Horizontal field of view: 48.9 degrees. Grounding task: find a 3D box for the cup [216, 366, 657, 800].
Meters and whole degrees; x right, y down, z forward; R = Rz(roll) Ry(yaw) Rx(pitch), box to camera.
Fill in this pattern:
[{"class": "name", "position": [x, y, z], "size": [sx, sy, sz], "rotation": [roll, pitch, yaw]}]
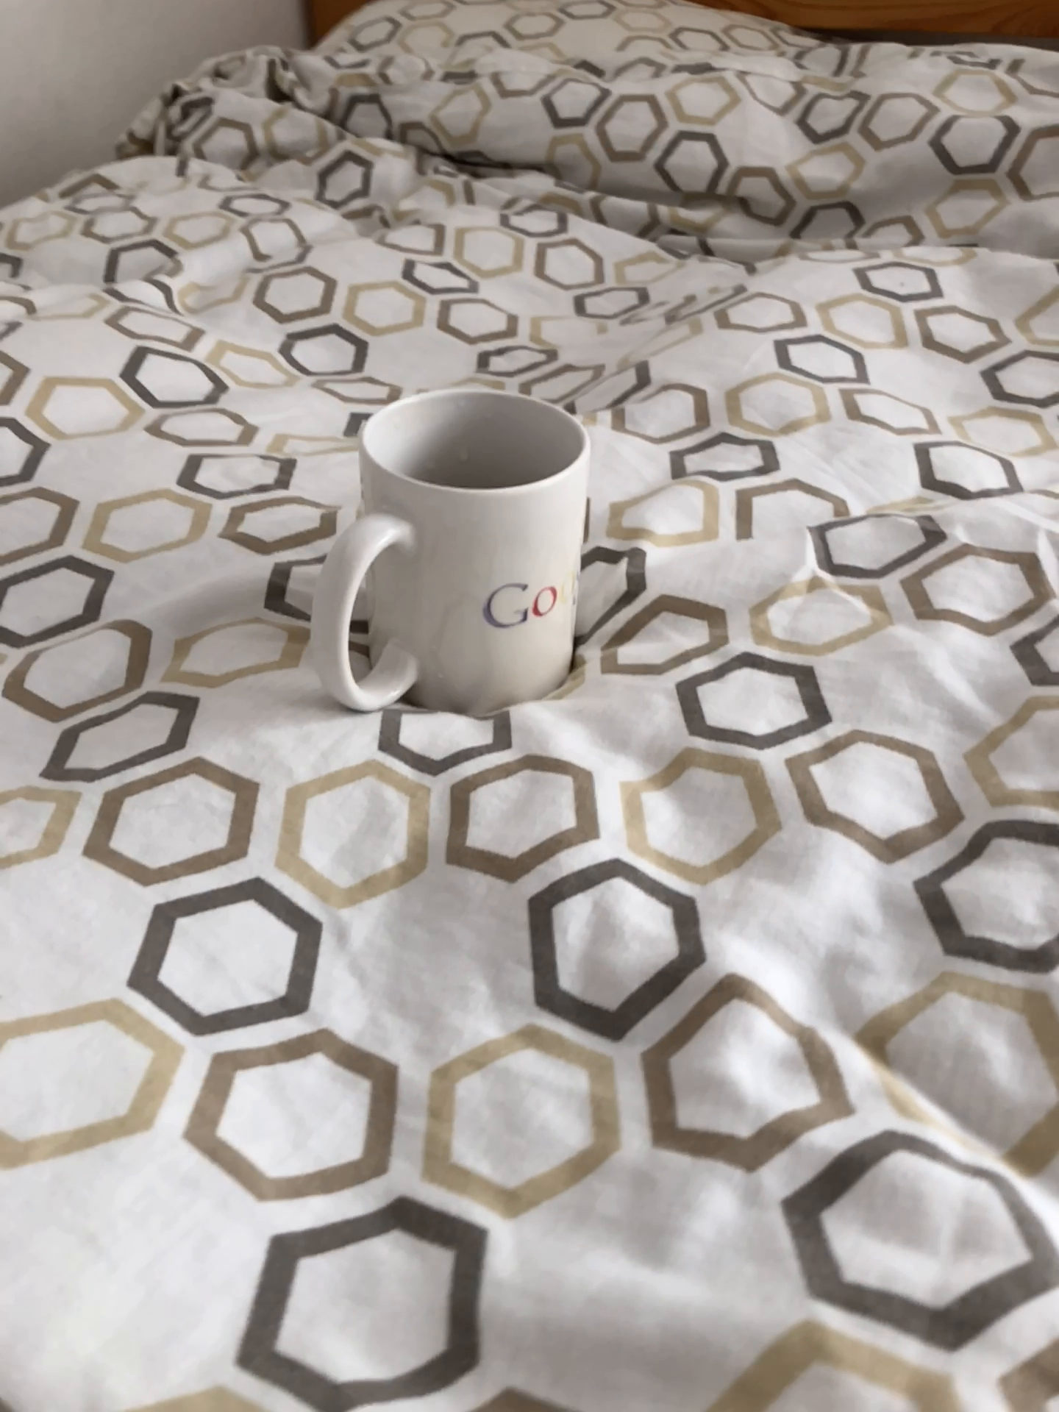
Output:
[{"class": "cup", "position": [-0.029, -0.050, 0.423], "size": [0.087, 0.087, 0.126], "rotation": [29, 47, 29]}]
